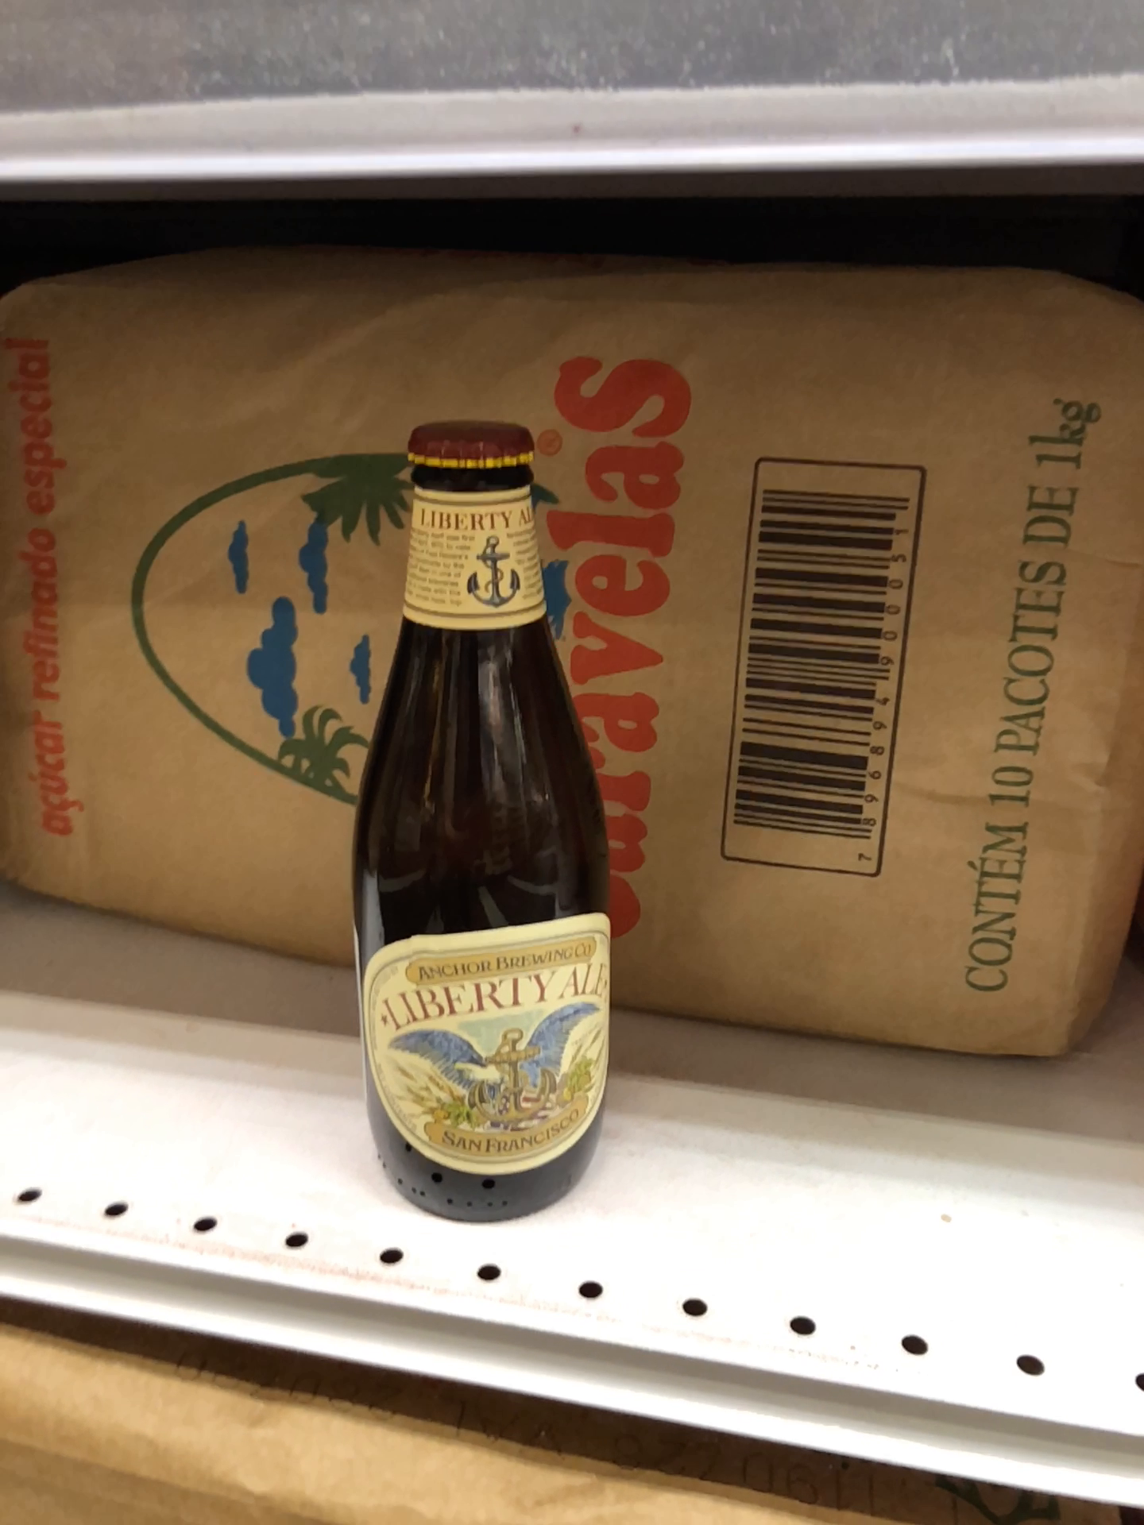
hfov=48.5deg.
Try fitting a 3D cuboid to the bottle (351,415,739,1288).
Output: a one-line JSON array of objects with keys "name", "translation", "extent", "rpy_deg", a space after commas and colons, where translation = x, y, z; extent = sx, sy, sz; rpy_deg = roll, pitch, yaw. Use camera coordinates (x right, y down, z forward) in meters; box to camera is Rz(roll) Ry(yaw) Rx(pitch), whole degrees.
[{"name": "bottle", "translation": [-0.010, 0.019, 0.302], "extent": [0.070, 0.189, 0.070], "rpy_deg": [0, 20, 0]}]
